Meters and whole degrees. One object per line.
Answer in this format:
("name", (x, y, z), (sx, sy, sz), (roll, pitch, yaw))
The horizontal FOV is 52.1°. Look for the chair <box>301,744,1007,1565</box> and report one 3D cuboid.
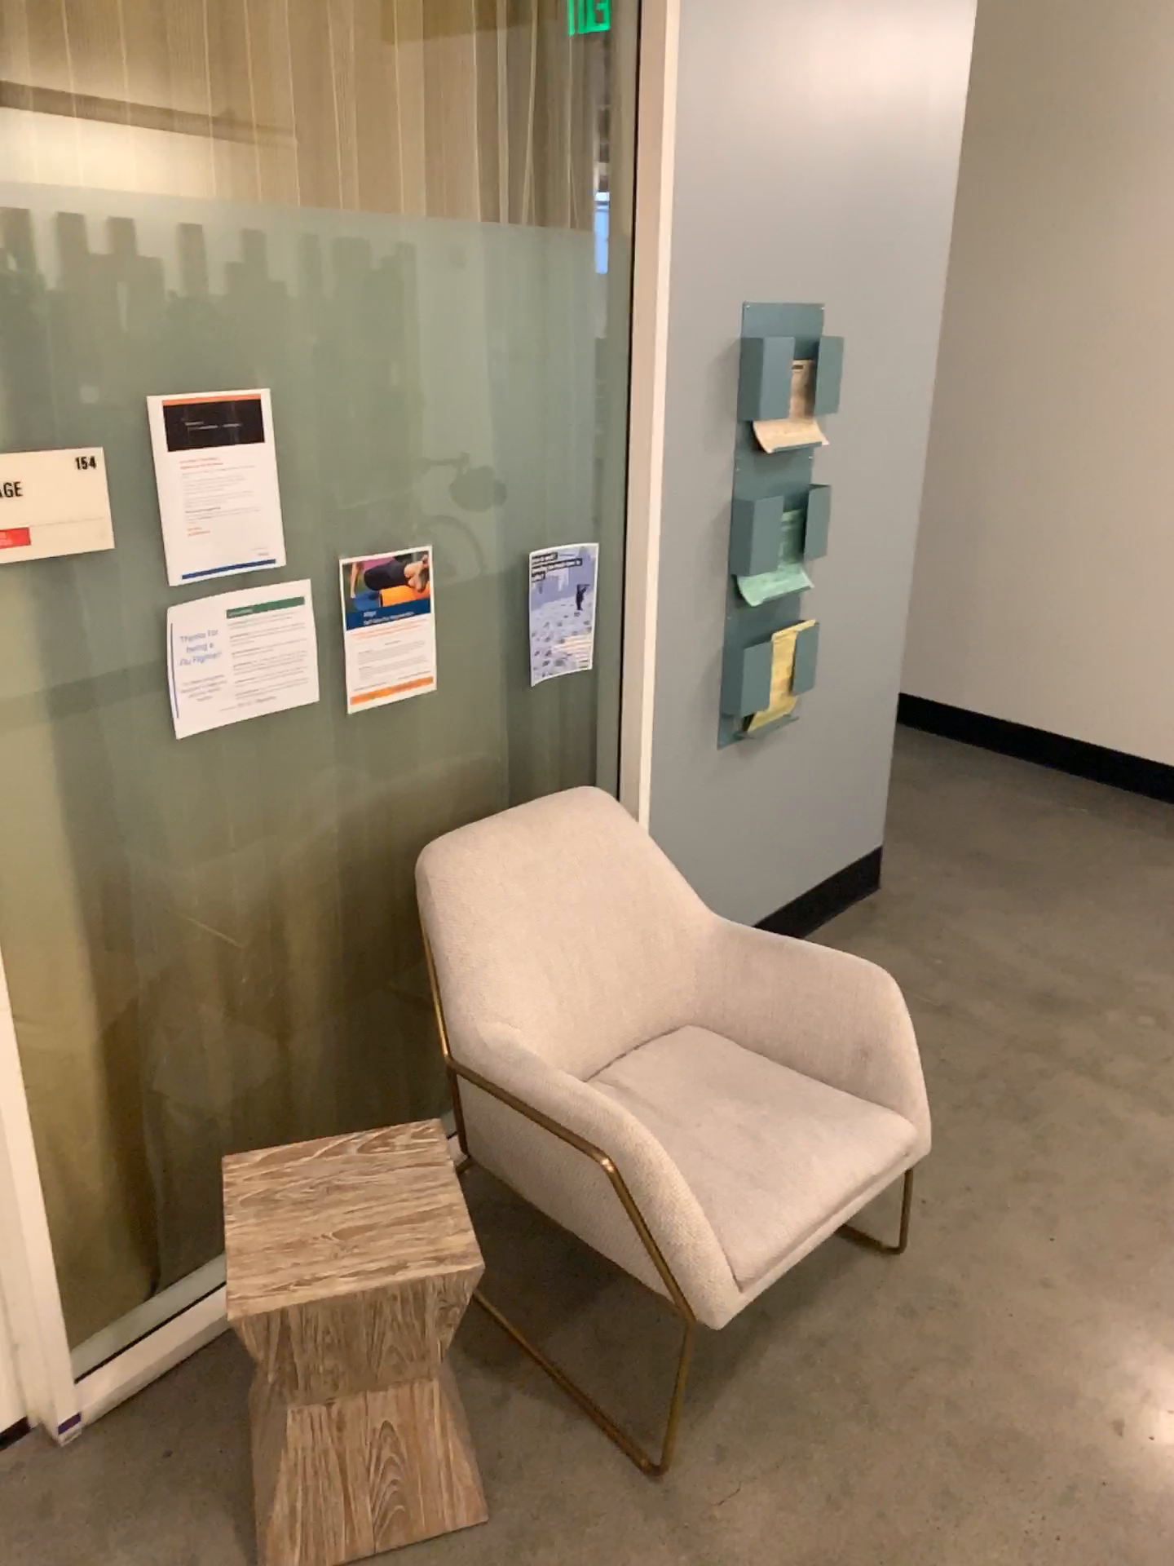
("chair", (0.102, 0.563, 2.151), (0.873, 0.926, 0.781), (19, 27, 39))
